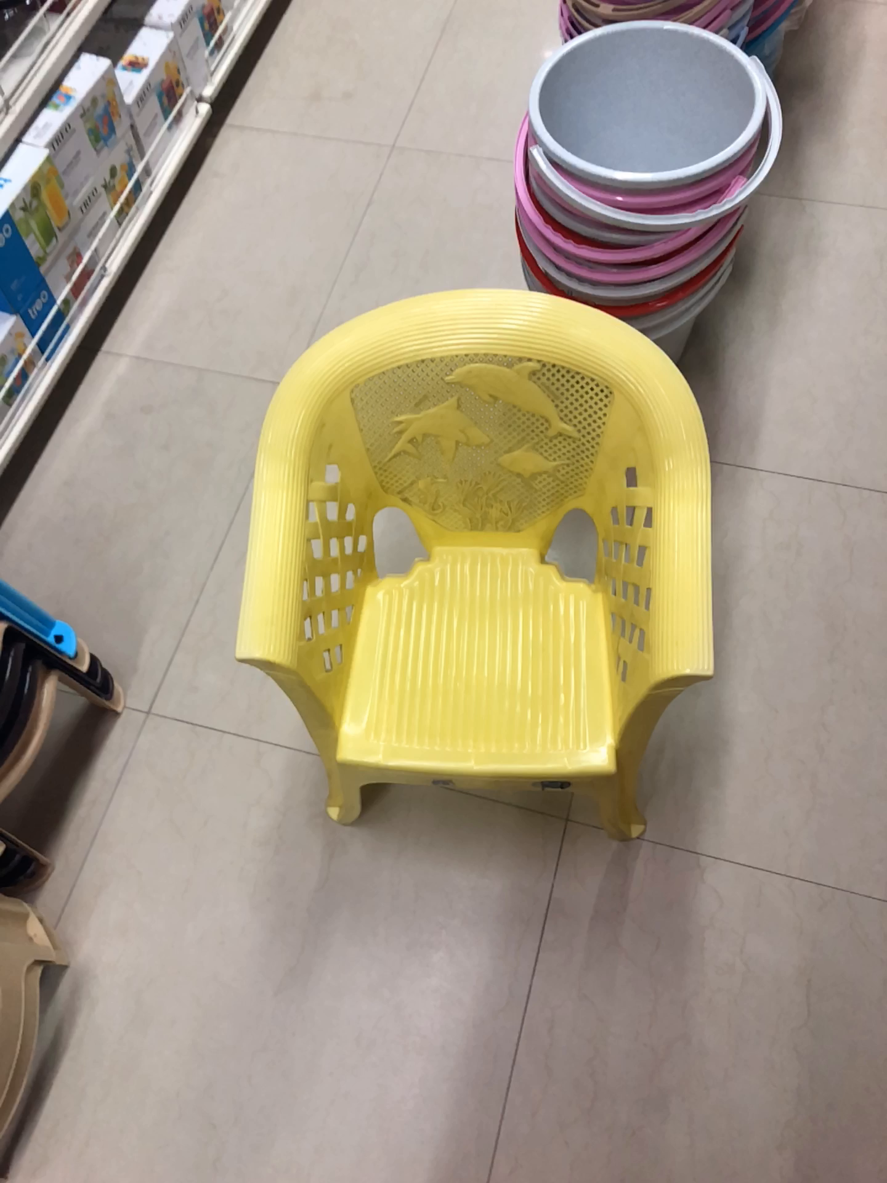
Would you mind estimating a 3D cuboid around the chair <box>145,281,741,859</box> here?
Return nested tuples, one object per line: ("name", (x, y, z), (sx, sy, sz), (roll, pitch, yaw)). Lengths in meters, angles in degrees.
("chair", (0.026, -0.011, 1.048), (0.470, 0.398, 0.472), (2, 63, 6))
